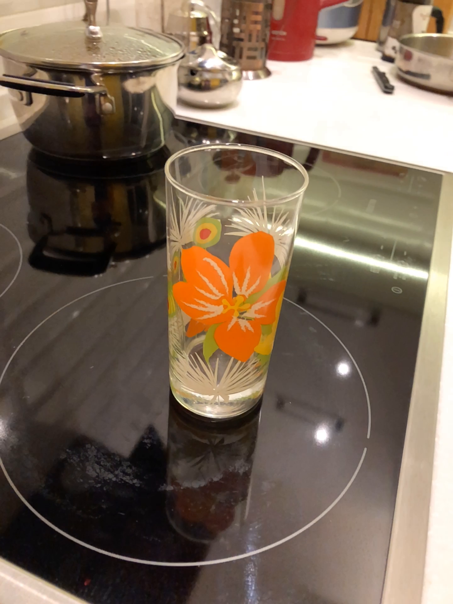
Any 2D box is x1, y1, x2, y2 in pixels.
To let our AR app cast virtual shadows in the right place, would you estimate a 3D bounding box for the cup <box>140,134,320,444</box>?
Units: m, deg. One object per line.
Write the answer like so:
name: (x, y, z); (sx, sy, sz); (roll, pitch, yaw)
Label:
cup: (0.000, -0.003, 0.258); (0.066, 0.138, 0.063); (3, 37, -2)
